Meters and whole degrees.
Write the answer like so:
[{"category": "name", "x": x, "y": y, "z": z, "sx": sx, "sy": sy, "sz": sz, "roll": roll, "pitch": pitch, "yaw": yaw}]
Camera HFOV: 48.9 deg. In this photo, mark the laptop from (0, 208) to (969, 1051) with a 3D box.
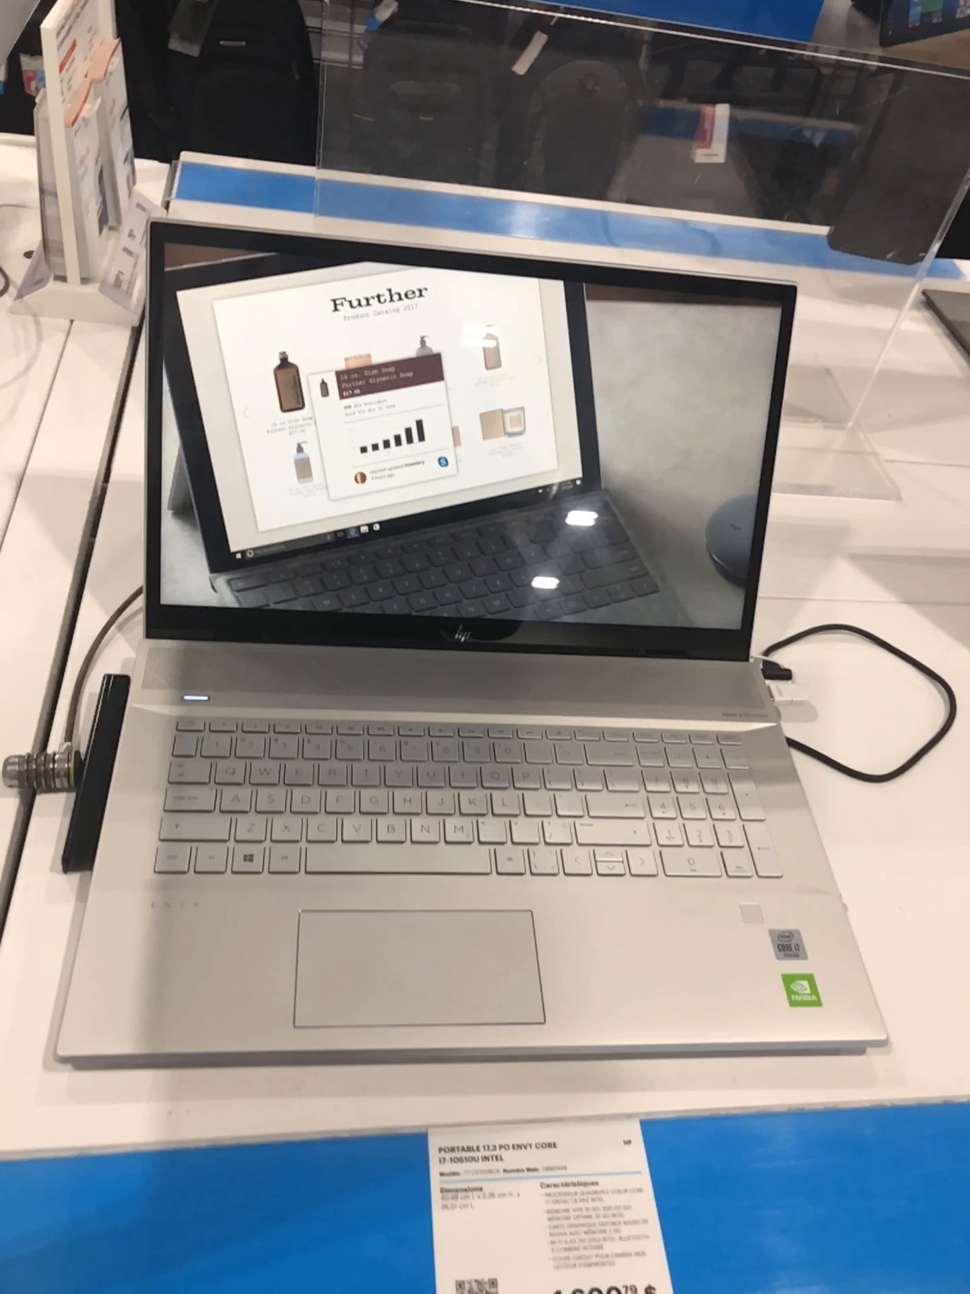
[{"category": "laptop", "x": 0.003, "y": -0.027, "z": 0.573, "sx": 0.390, "sy": 0.199, "sz": 0.399, "roll": 3, "pitch": 45, "yaw": -10}]
